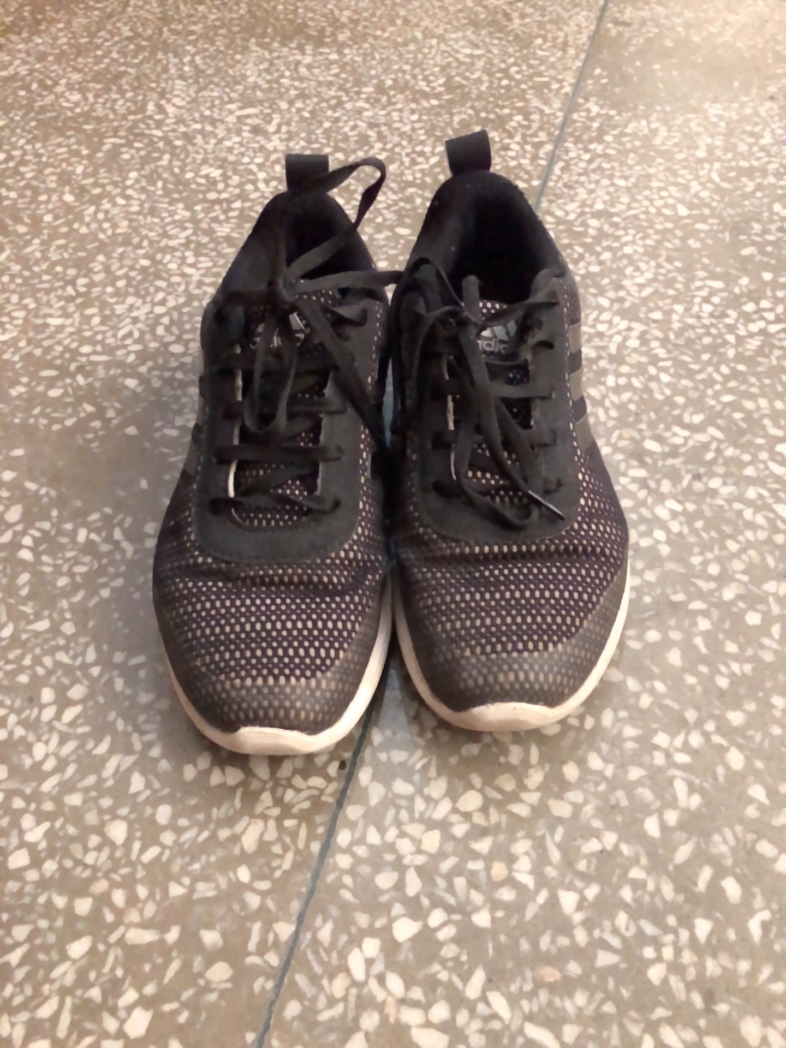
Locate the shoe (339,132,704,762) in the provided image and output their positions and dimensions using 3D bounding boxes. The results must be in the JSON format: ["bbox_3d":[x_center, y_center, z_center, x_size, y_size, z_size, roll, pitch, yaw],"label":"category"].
[{"bbox_3d":[0.039,-0.050,0.354,0.100,0.080,0.271,0,53,2],"label":"shoe"}]

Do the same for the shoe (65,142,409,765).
[{"bbox_3d":[-0.047,-0.049,0.371,0.100,0.080,0.281,-1,53,1],"label":"shoe"}]
